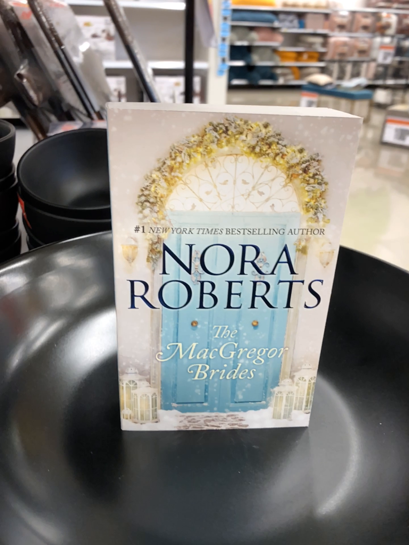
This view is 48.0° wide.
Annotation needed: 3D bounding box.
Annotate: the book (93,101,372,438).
[{"bbox_3d":[0.009,0.005,0.235,0.110,0.168,0.040,0,25,-4],"label":"book"}]
